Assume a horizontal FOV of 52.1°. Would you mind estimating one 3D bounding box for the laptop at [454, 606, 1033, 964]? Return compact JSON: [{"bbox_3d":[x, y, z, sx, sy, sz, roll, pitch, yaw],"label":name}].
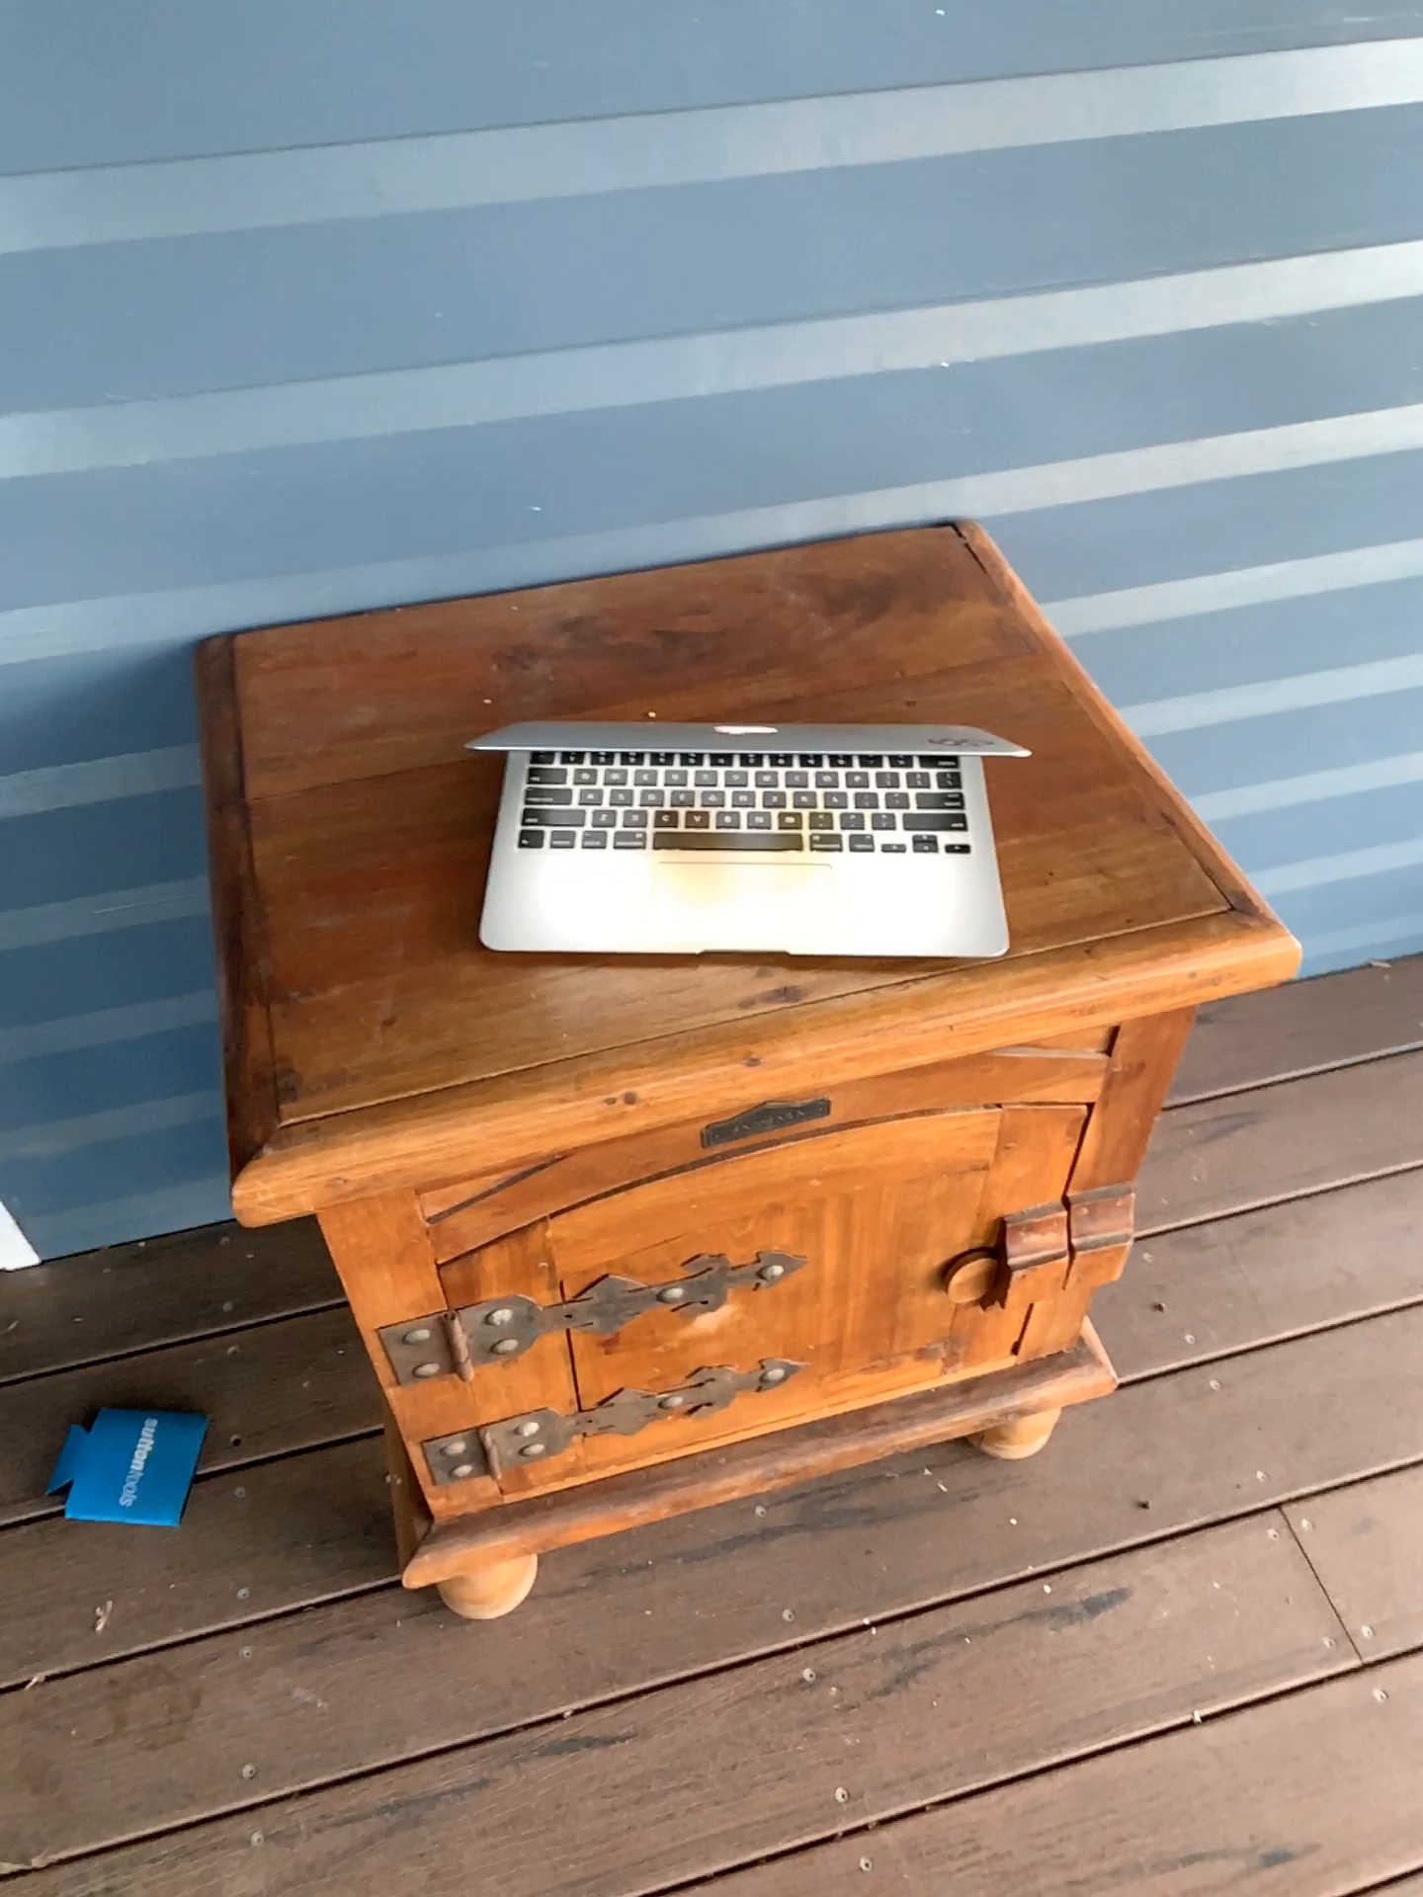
[{"bbox_3d":[0.018,-0.094,0.803,0.282,0.099,0.180,0,48,1],"label":"laptop"}]
